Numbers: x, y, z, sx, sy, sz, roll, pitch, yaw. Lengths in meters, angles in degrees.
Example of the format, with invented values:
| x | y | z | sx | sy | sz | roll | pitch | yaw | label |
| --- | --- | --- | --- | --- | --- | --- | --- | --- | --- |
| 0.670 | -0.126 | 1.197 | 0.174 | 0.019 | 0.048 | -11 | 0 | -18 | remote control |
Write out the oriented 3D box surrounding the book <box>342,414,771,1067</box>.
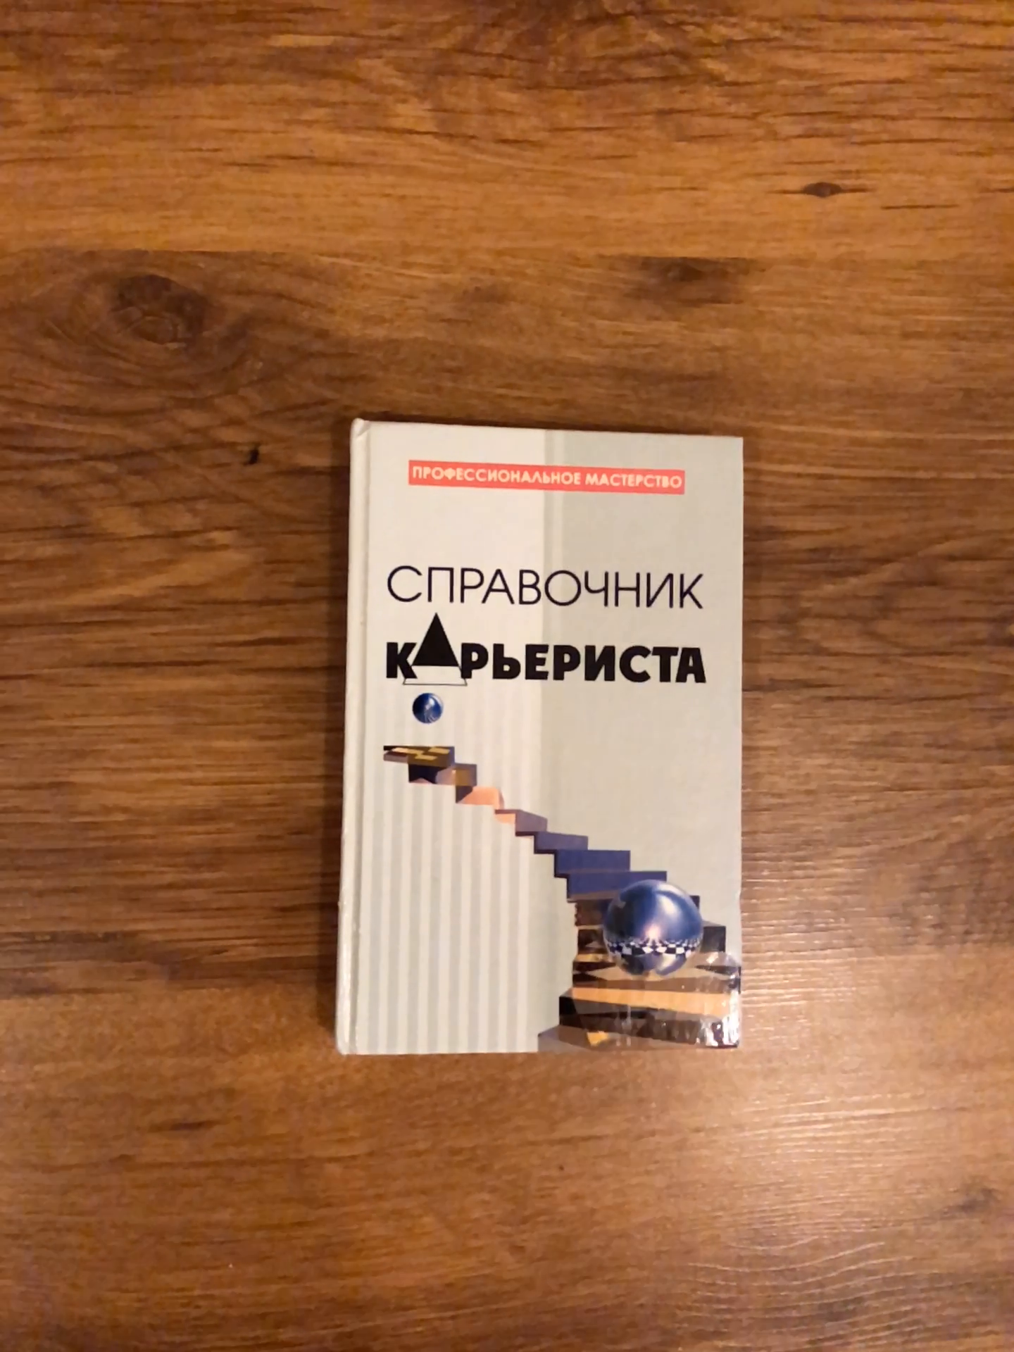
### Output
| x | y | z | sx | sy | sz | roll | pitch | yaw | label |
| --- | --- | --- | --- | --- | --- | --- | --- | --- | --- |
| 0.017 | 0.020 | 0.369 | 0.136 | 0.026 | 0.204 | 1 | 87 | -5 | book |
